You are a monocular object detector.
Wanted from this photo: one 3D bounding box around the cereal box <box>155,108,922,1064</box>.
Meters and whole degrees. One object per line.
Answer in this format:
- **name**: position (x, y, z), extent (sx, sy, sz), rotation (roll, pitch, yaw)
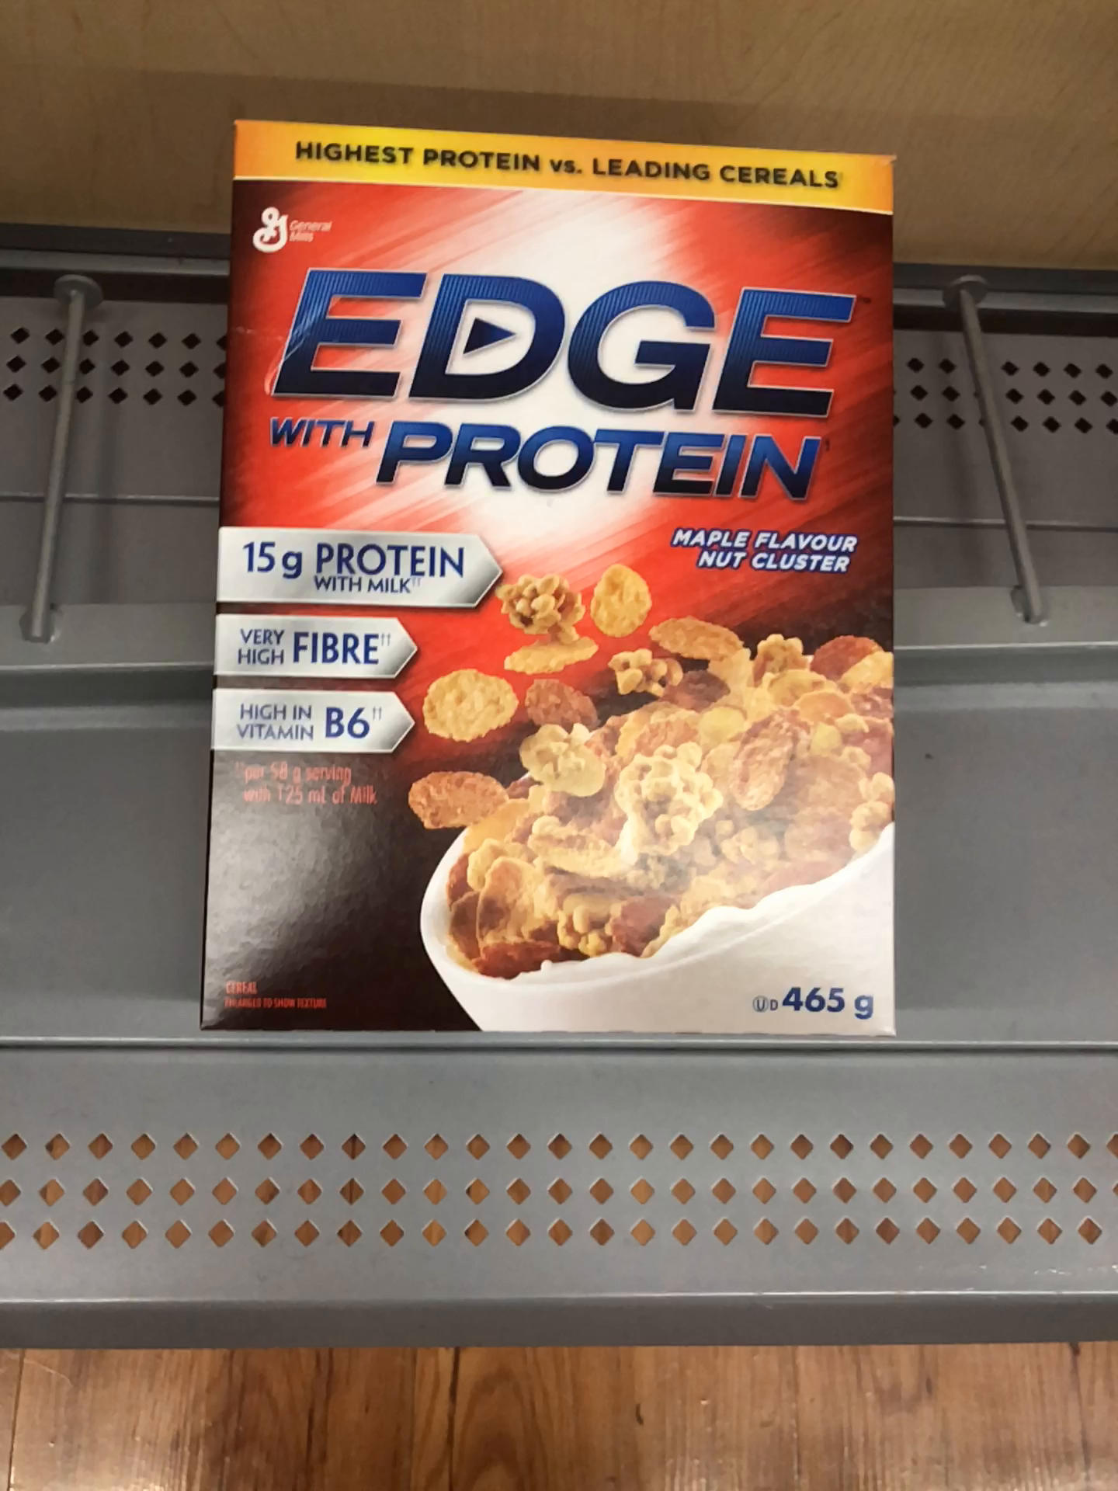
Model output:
- **cereal box**: position (-0.003, -0.044, 0.372), extent (0.200, 0.070, 0.260), rotation (2, 83, -3)
